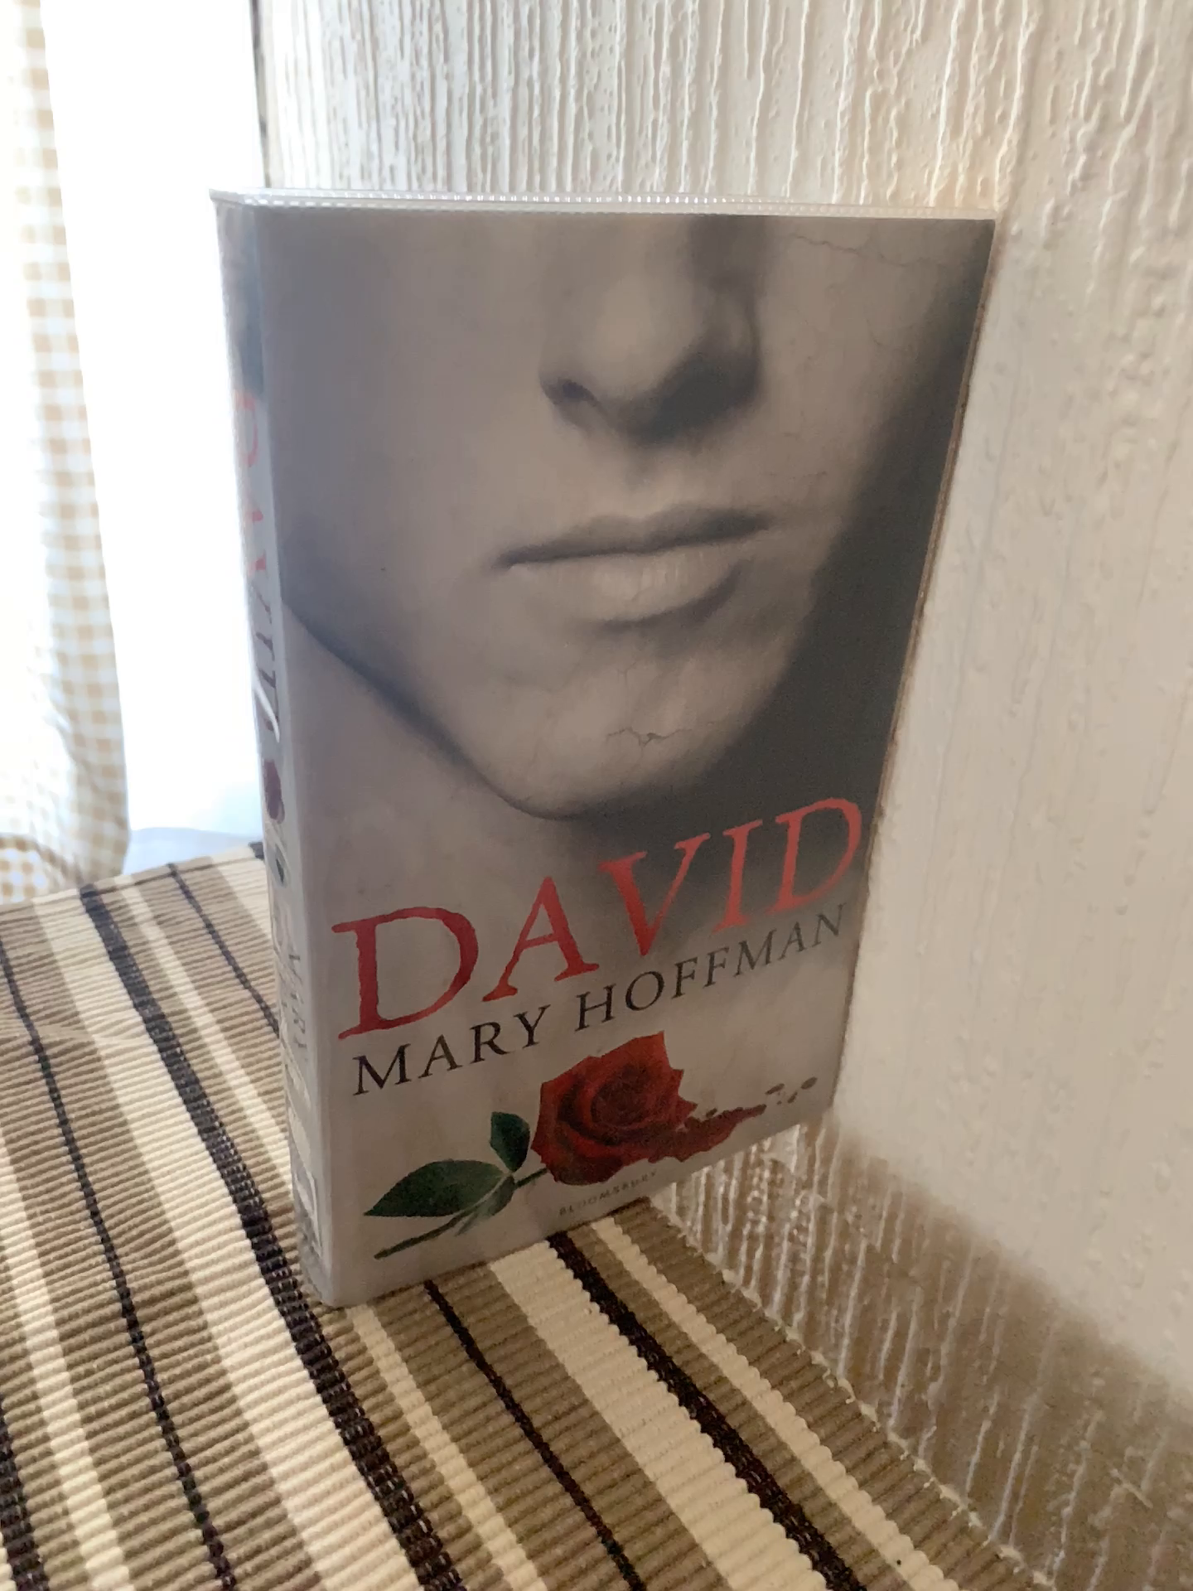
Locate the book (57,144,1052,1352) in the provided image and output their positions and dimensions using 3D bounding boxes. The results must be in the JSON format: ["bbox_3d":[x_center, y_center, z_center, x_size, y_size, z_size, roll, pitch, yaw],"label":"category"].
[{"bbox_3d":[-0.001,-0.010,0.259,0.170,0.218,0.040,-13,31,-28],"label":"book"}]
